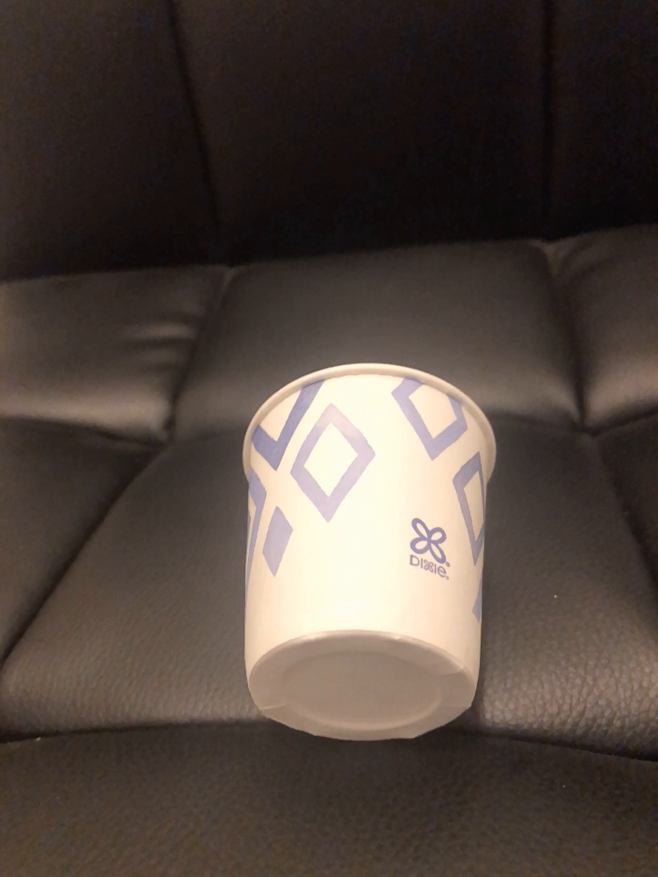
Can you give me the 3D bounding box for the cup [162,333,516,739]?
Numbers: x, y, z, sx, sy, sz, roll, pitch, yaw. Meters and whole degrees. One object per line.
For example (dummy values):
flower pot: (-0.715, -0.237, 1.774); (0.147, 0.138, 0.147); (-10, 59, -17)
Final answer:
cup: (0.007, 0.019, 0.146); (0.052, 0.049, 0.058); (-4, 45, 10)
